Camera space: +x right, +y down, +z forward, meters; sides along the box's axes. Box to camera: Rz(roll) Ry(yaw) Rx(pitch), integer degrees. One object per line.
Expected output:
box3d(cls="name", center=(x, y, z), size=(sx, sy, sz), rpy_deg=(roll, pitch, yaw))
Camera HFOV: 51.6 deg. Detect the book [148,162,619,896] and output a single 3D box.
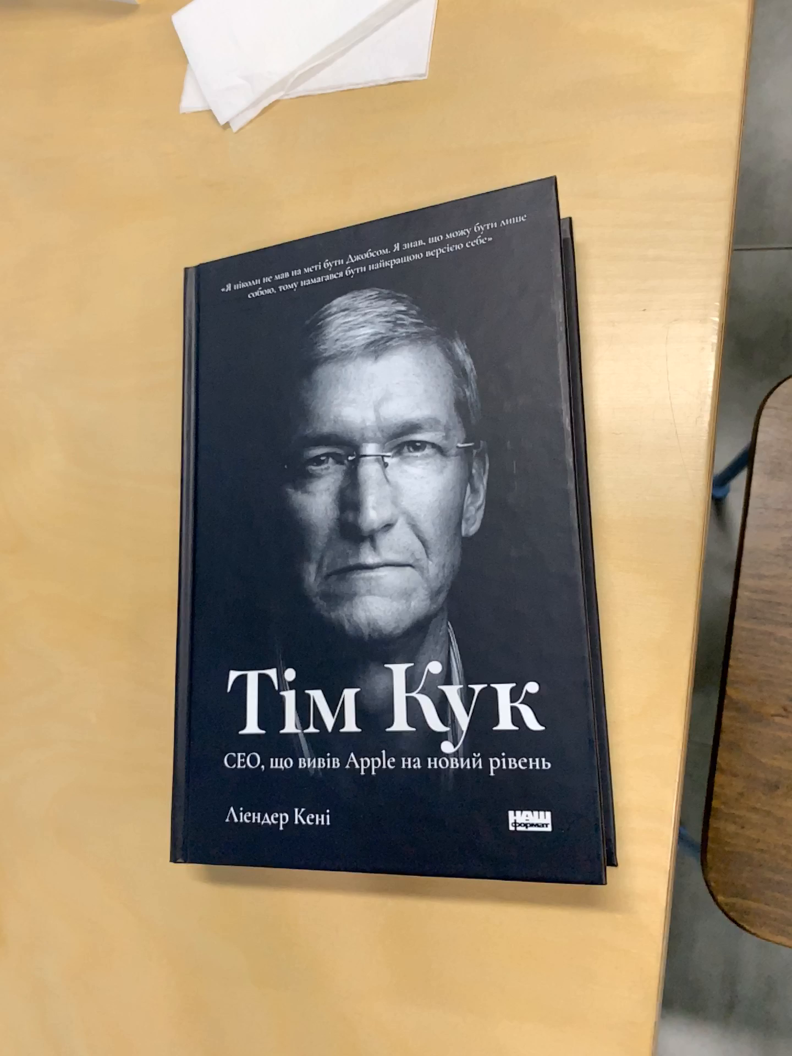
box3d(cls="book", center=(-0.009, 0.000, 0.278), size=(0.145, 0.034, 0.217), rpy_deg=(-6, 77, 21))
